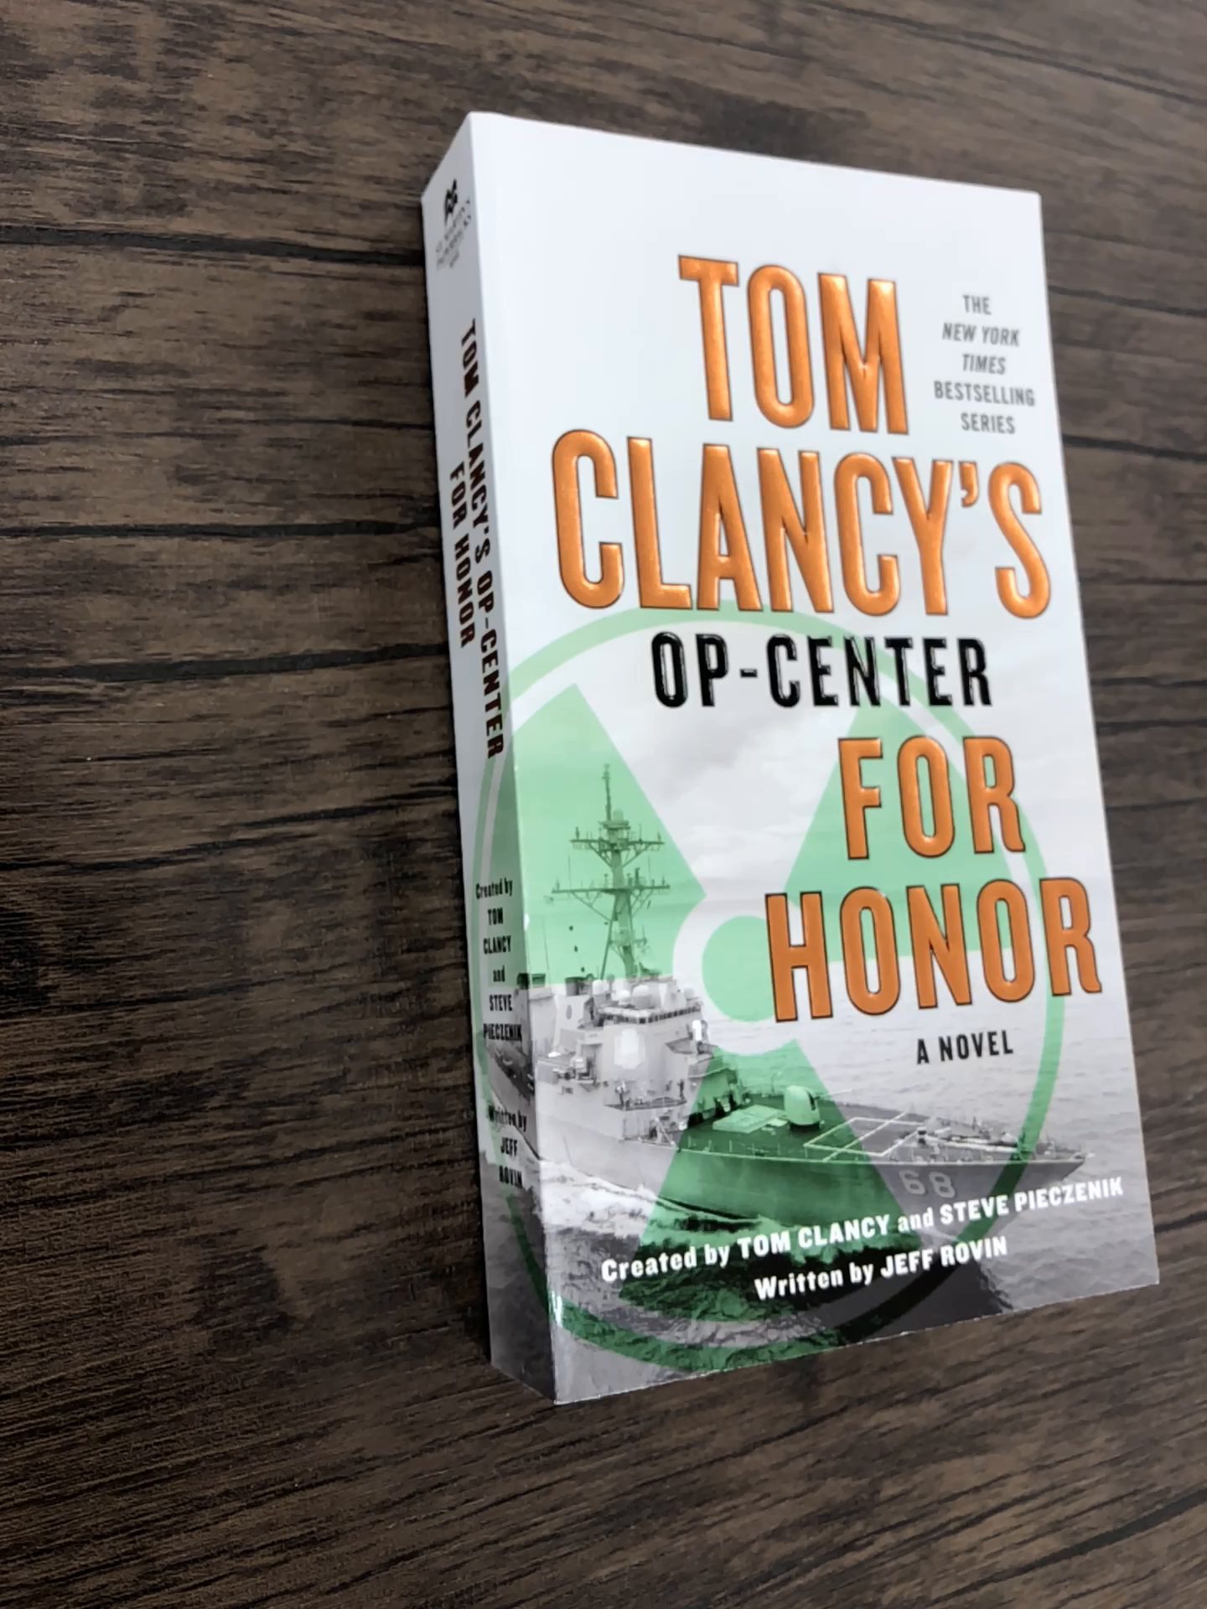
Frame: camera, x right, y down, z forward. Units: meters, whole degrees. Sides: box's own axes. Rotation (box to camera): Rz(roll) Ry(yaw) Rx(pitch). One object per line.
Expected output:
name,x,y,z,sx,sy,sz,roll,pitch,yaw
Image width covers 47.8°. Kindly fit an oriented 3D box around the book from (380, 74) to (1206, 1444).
book,0.029,-0.011,0.226,0.113,0.040,0.190,-2,83,-22
